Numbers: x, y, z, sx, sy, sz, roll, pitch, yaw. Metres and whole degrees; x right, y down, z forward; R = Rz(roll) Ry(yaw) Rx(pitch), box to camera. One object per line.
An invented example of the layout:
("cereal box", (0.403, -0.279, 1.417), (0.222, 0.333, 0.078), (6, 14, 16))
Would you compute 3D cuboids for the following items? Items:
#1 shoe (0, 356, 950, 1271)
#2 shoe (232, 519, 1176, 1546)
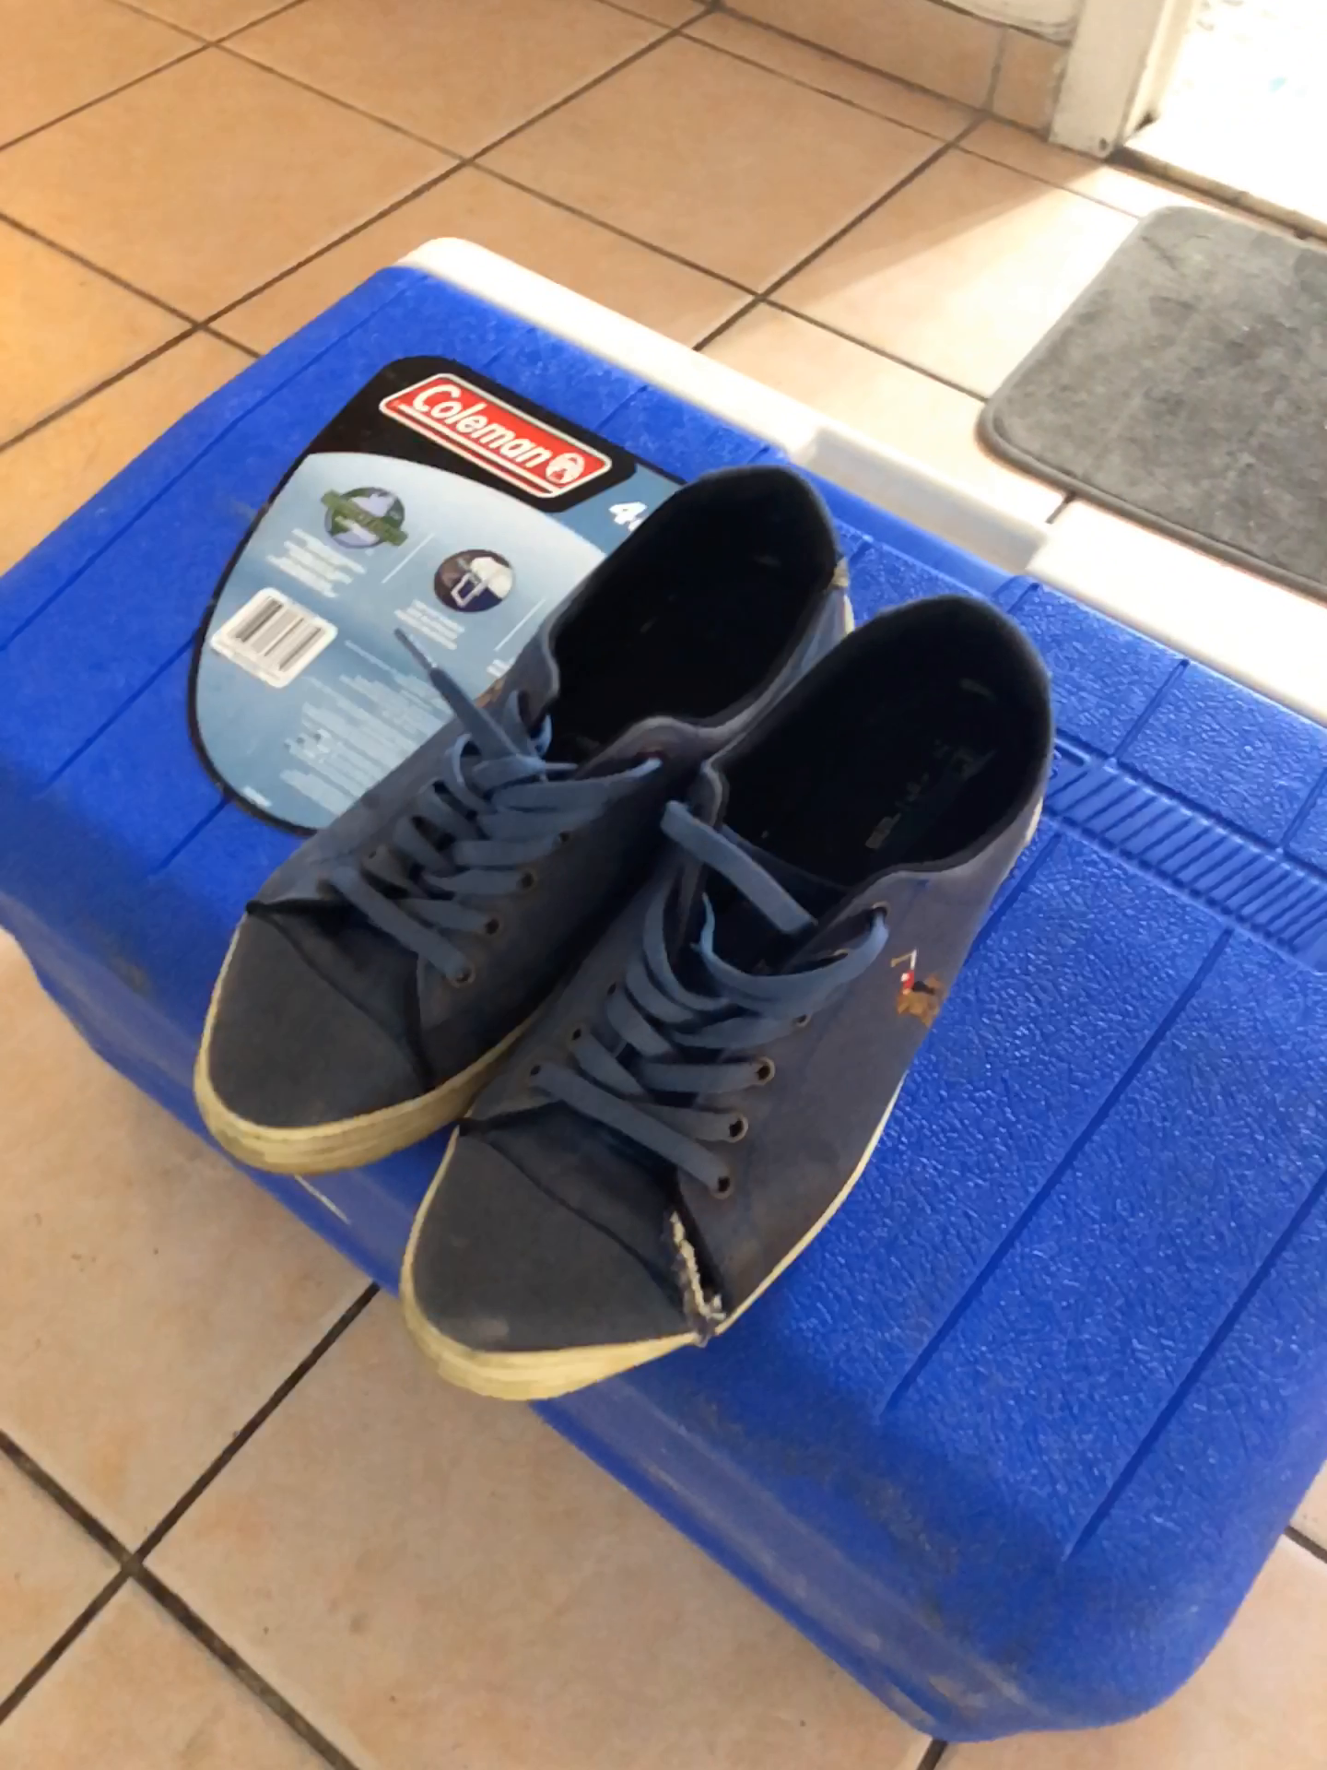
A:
("shoe", (-0.043, -0.031, 0.443), (0.107, 0.089, 0.271), (38, 68, 22))
("shoe", (0.024, 0.027, 0.413), (0.107, 0.089, 0.271), (32, 62, 19))
